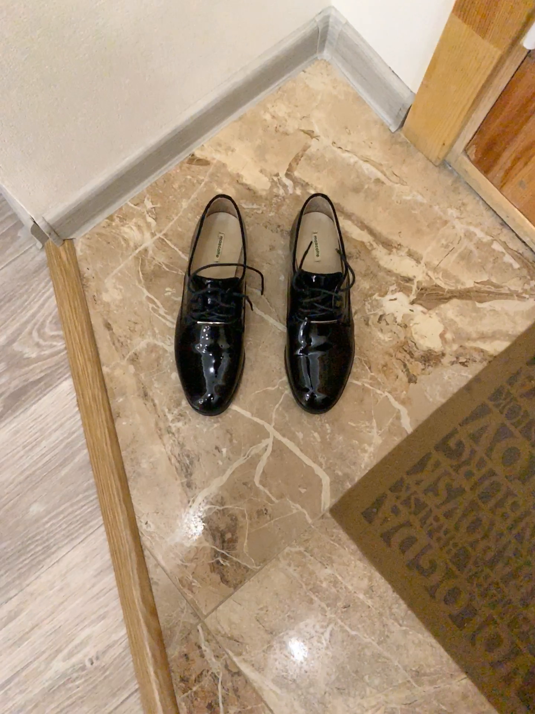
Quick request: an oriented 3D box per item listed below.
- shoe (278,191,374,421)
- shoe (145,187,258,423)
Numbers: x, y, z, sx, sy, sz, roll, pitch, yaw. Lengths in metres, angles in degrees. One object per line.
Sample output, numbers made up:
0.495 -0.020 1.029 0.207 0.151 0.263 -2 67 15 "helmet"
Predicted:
0.060 -0.050 0.608 0.090 0.110 0.230 1 79 -1 "shoe"
-0.065 -0.050 0.604 0.086 0.110 0.230 6 79 0 "shoe"
